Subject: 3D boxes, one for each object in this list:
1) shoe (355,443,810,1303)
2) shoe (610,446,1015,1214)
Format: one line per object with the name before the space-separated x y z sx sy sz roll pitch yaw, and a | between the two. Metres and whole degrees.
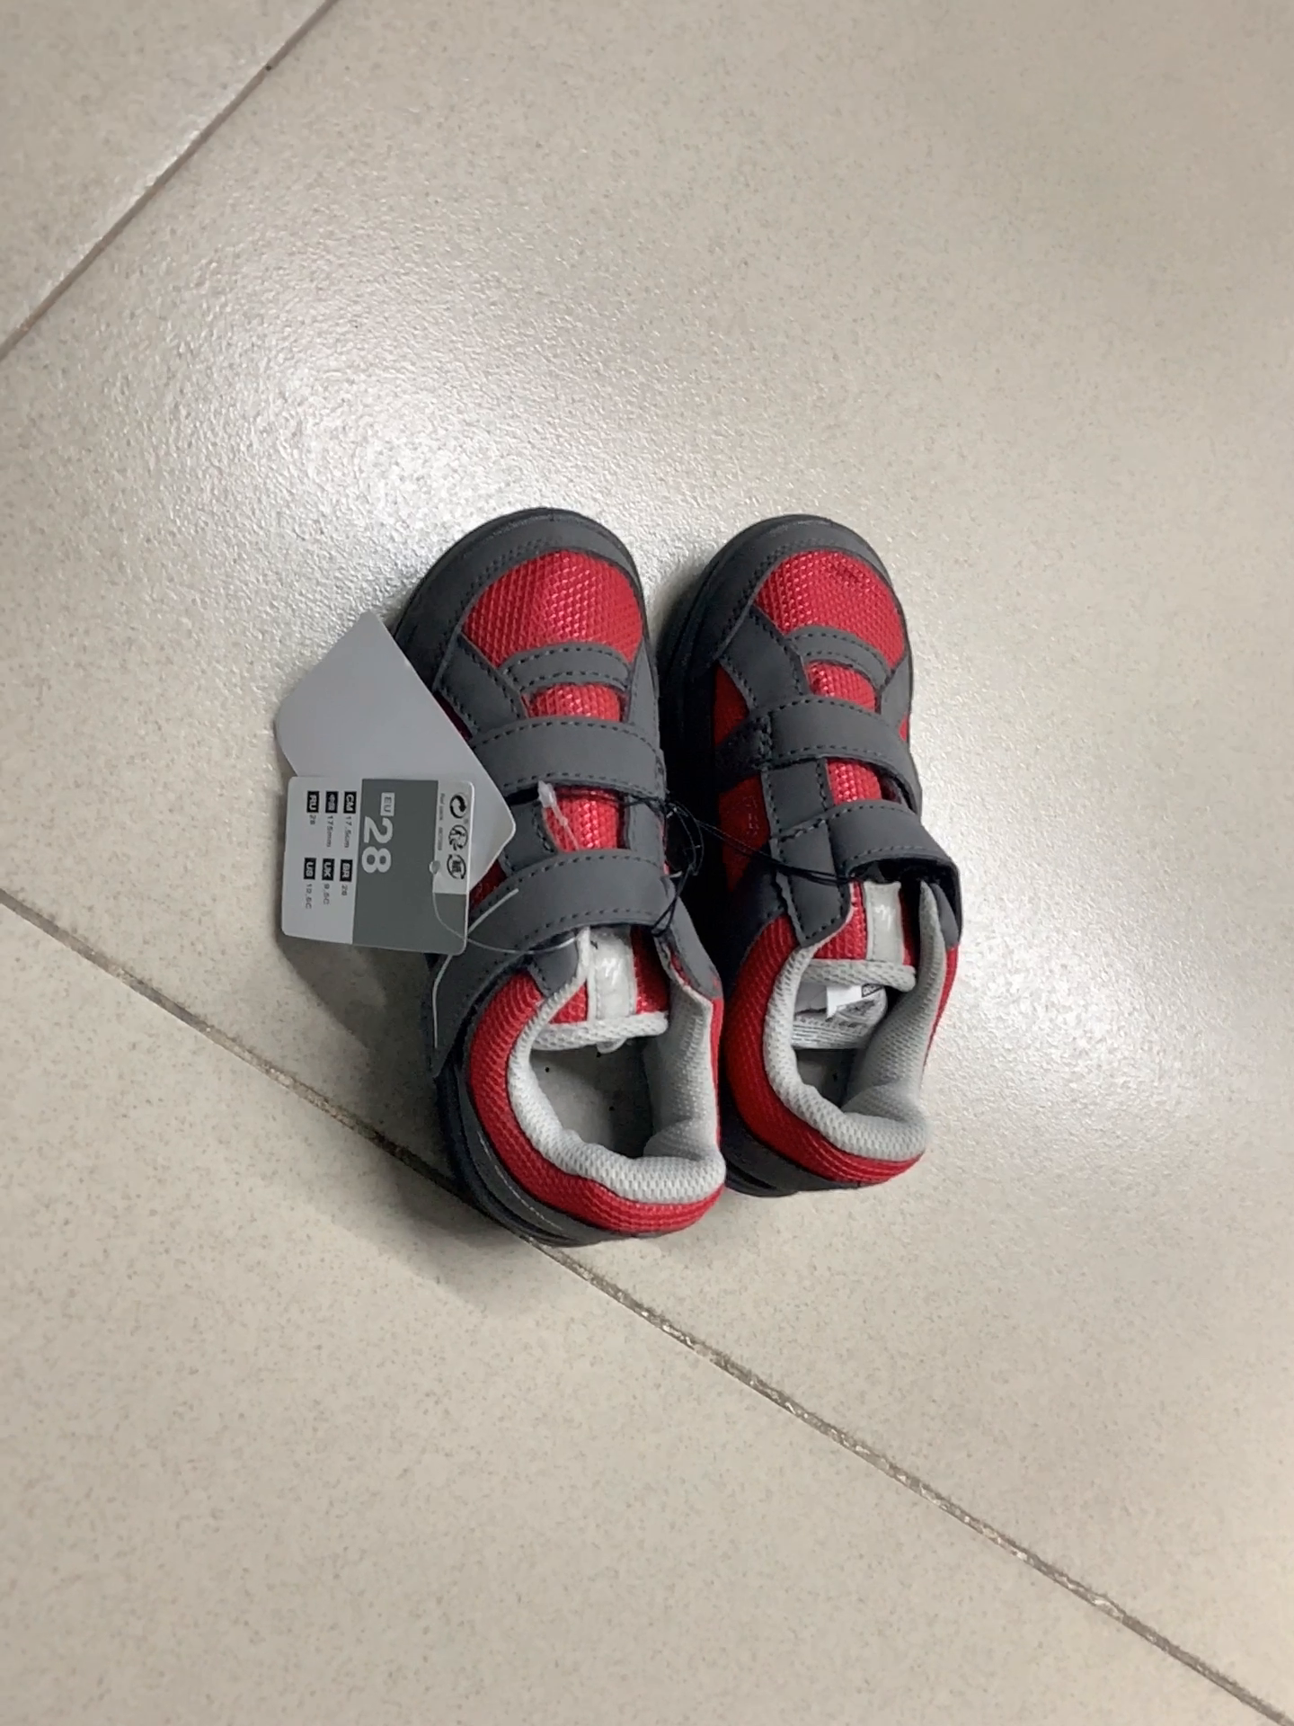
shoe | -0.020 0.002 0.331 0.080 0.080 0.180 -2 89 -26
shoe | 0.045 -0.006 0.380 0.080 0.080 0.190 4 86 -26
